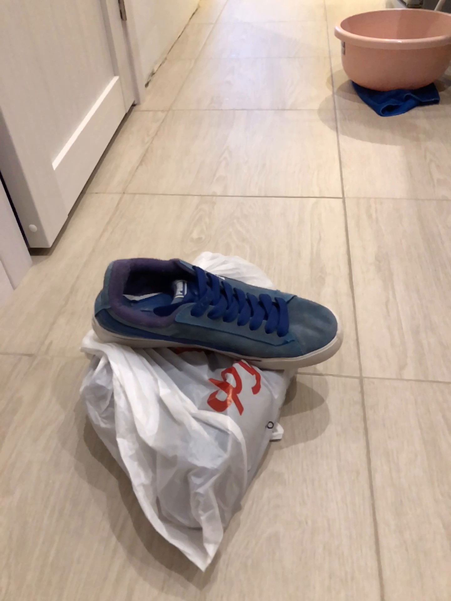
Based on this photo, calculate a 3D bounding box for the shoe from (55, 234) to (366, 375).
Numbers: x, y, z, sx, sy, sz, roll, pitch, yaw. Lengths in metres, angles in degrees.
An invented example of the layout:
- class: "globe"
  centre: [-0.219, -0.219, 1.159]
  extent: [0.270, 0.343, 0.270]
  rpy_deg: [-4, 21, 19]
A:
- class: "shoe"
  centre: [-0.013, 0.005, 0.547]
  extent: [0.300, 0.099, 0.111]
  rpy_deg: [-2, 49, 3]
